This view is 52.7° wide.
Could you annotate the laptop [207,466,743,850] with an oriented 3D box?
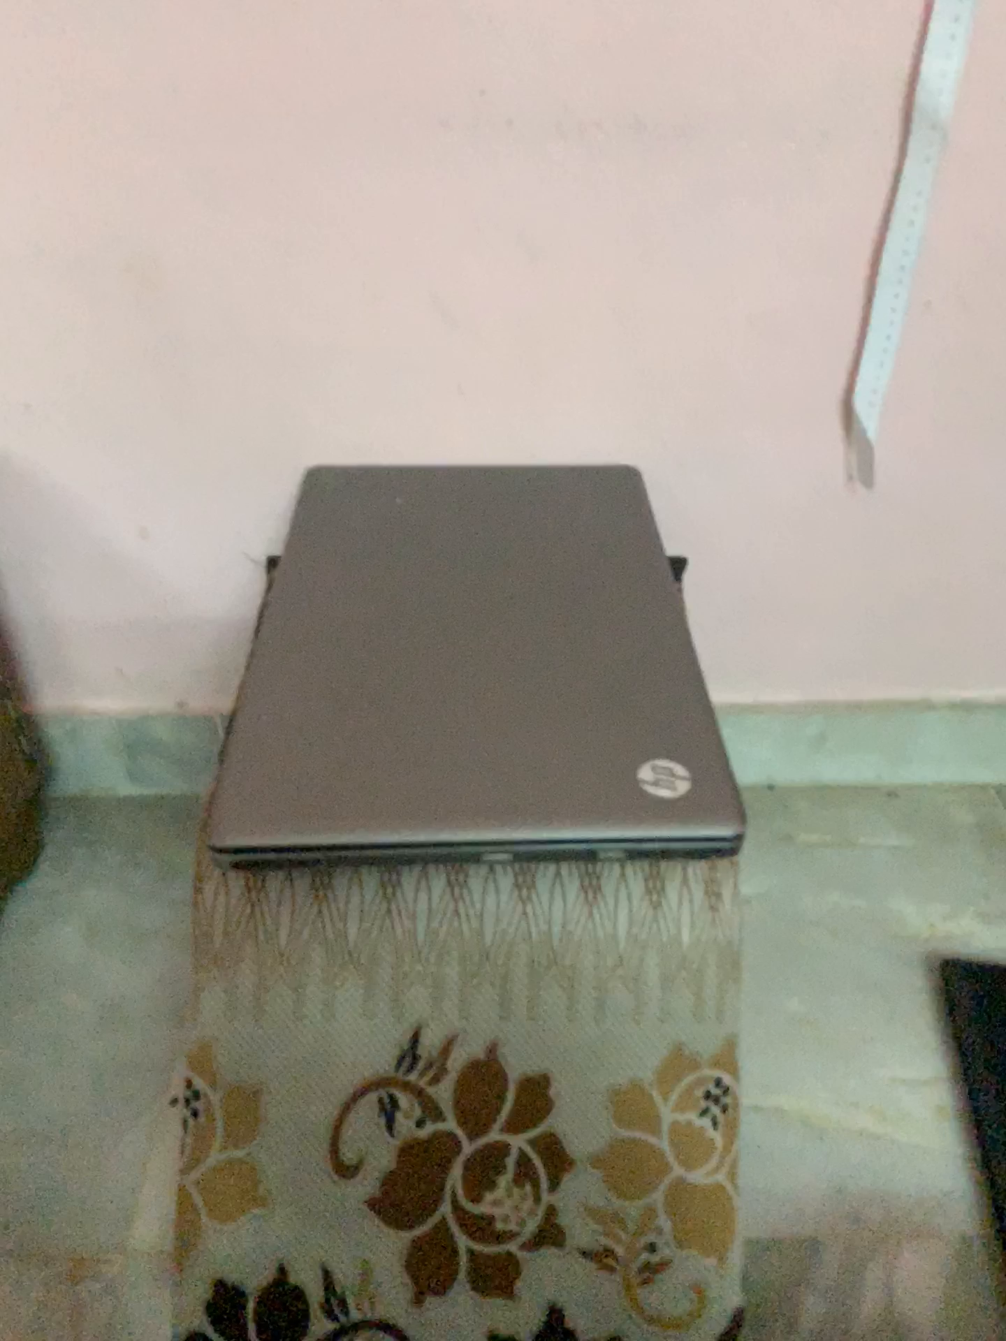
[{"bbox_3d":[-0.016,-0.036,0.623,0.249,0.002,0.382,0,38,-1],"label":"laptop"}]
